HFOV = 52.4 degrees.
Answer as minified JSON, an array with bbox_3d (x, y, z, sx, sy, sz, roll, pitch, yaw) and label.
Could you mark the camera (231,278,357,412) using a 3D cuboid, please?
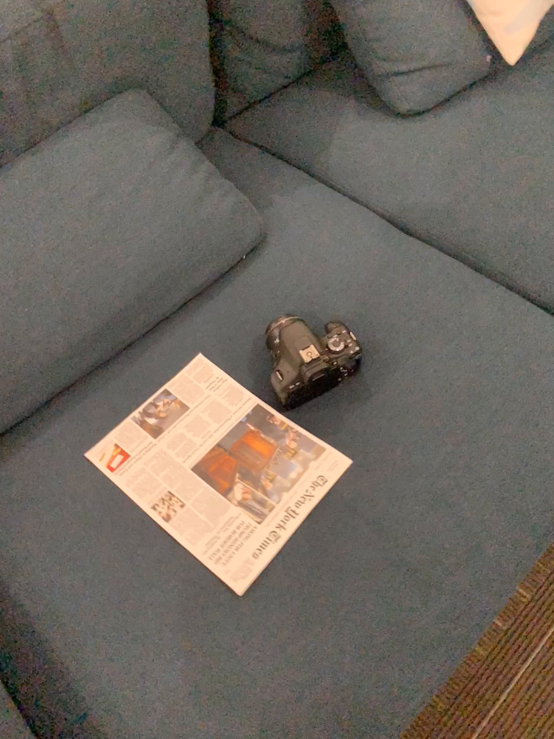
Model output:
[{"bbox_3d":[0.028,-0.035,0.828,0.140,0.100,0.110,-29,59,-10],"label":"camera"}]
